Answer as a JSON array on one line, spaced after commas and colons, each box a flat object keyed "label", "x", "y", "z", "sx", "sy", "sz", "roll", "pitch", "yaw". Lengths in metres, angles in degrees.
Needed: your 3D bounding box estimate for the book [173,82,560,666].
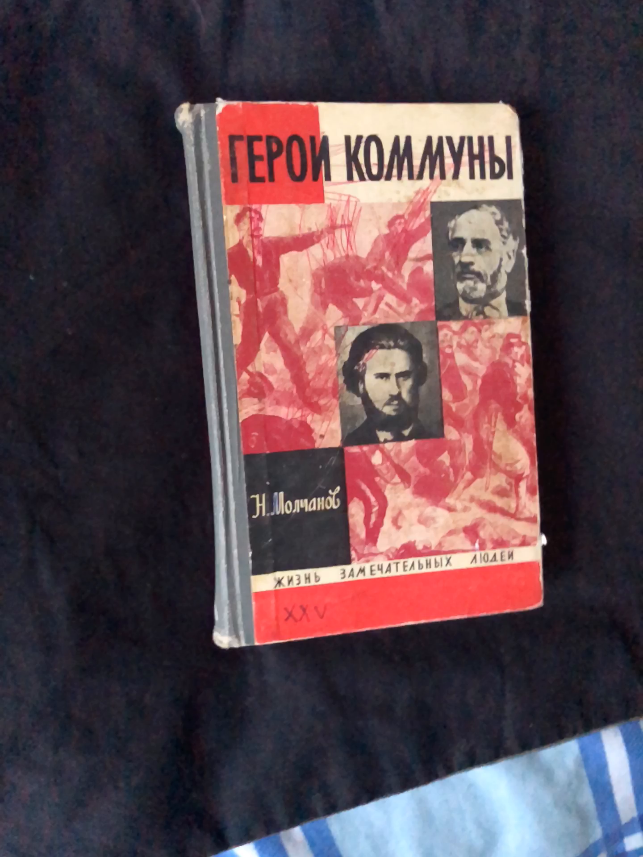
[{"label": "book", "x": 0.016, "y": -0.023, "z": 0.286, "sx": 0.128, "sy": 0.060, "sz": 0.200, "roll": -5, "pitch": 94, "yaw": -9}]
